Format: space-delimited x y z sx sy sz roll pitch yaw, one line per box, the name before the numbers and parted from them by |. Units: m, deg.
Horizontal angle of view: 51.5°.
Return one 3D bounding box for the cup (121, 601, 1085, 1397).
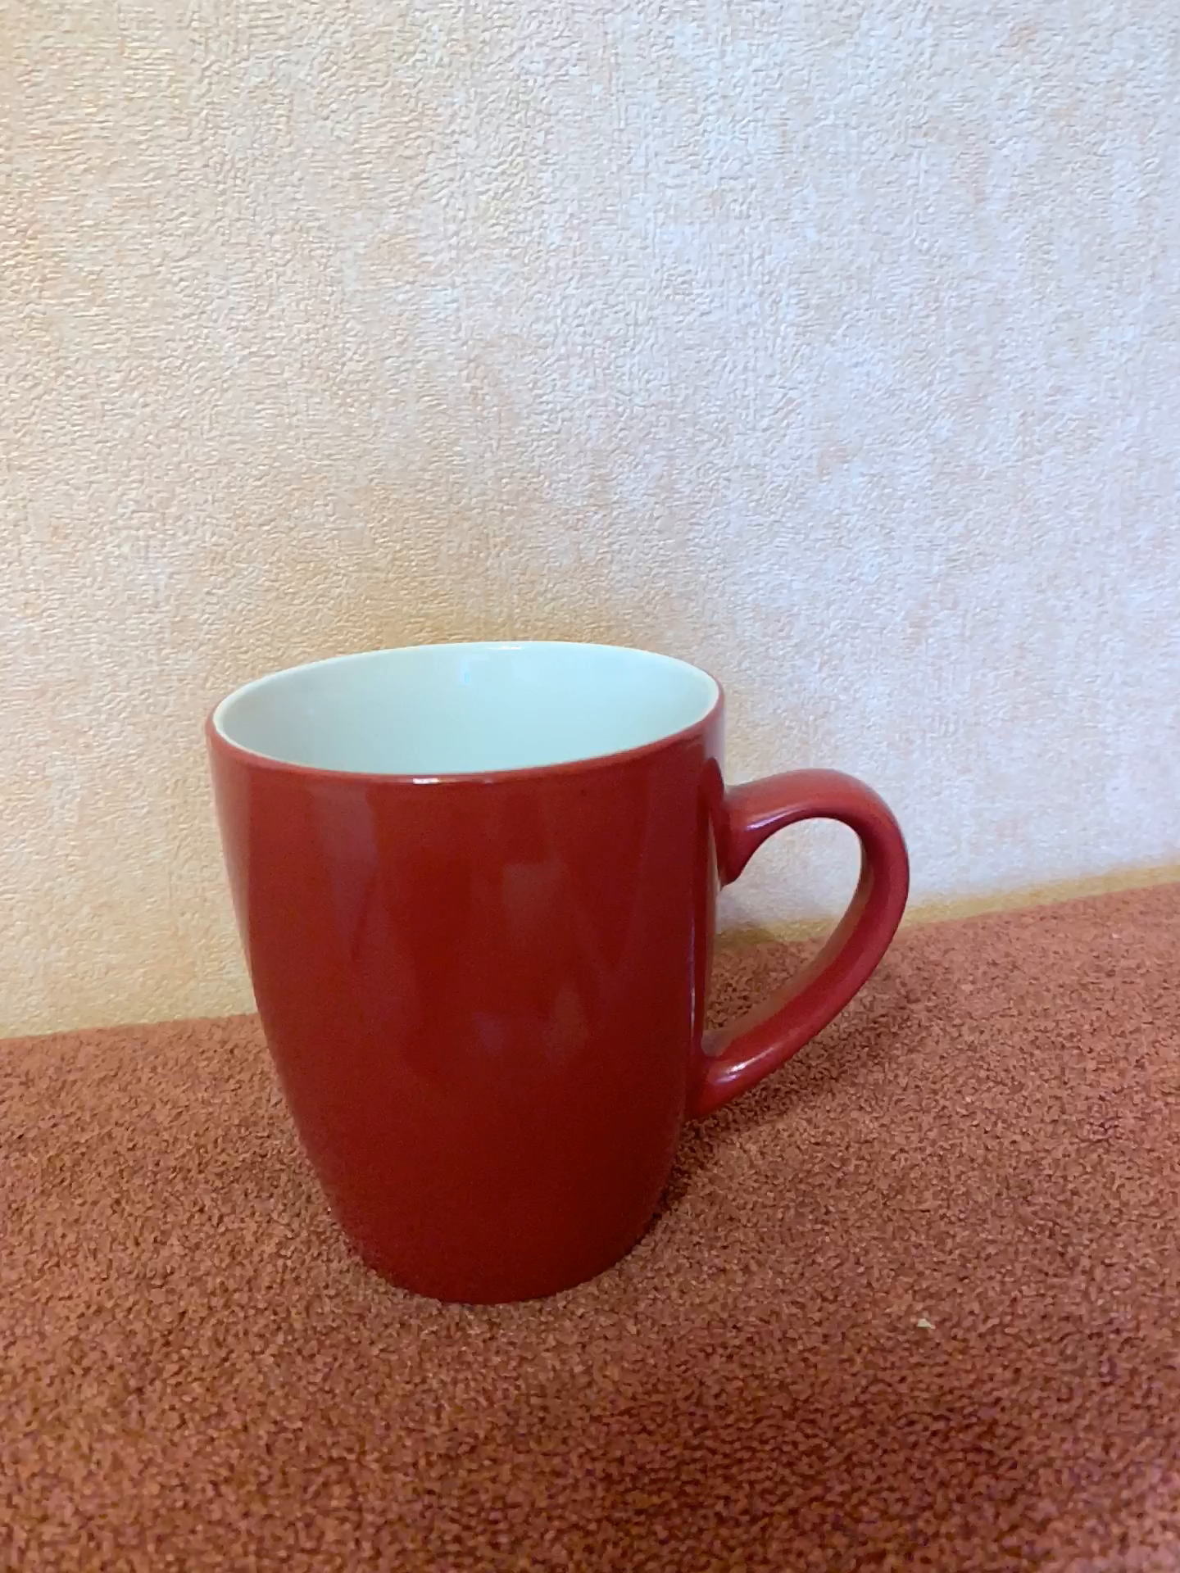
cup | 0.001 0.027 0.207 0.121 0.091 0.083 -5 20 -5
